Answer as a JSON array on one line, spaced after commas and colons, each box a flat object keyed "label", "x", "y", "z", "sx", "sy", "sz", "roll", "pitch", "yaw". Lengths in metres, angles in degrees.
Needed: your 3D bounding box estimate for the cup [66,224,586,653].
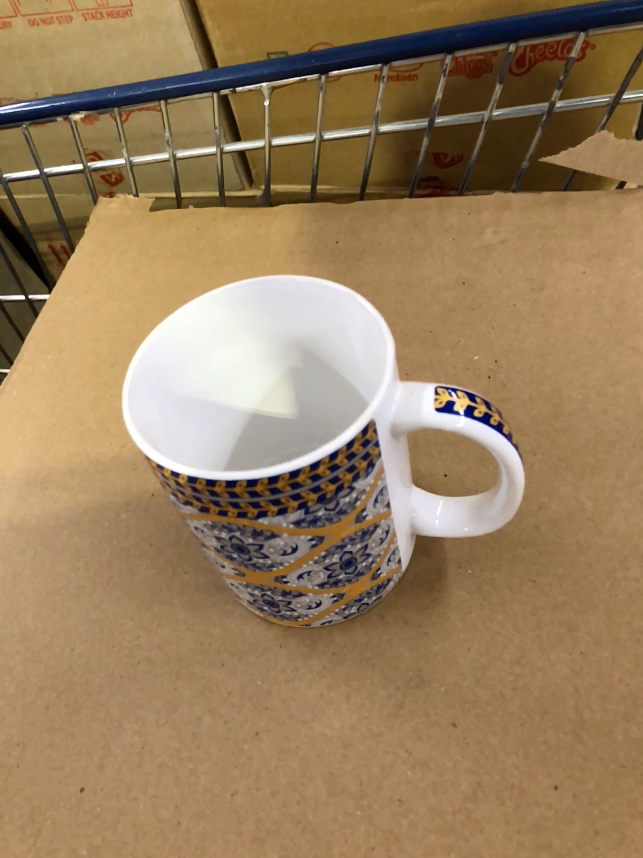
[{"label": "cup", "x": 0.008, "y": 0.008, "z": 0.225, "sx": 0.120, "sy": 0.099, "sz": 0.080, "roll": -5, "pitch": 47, "yaw": 9}]
